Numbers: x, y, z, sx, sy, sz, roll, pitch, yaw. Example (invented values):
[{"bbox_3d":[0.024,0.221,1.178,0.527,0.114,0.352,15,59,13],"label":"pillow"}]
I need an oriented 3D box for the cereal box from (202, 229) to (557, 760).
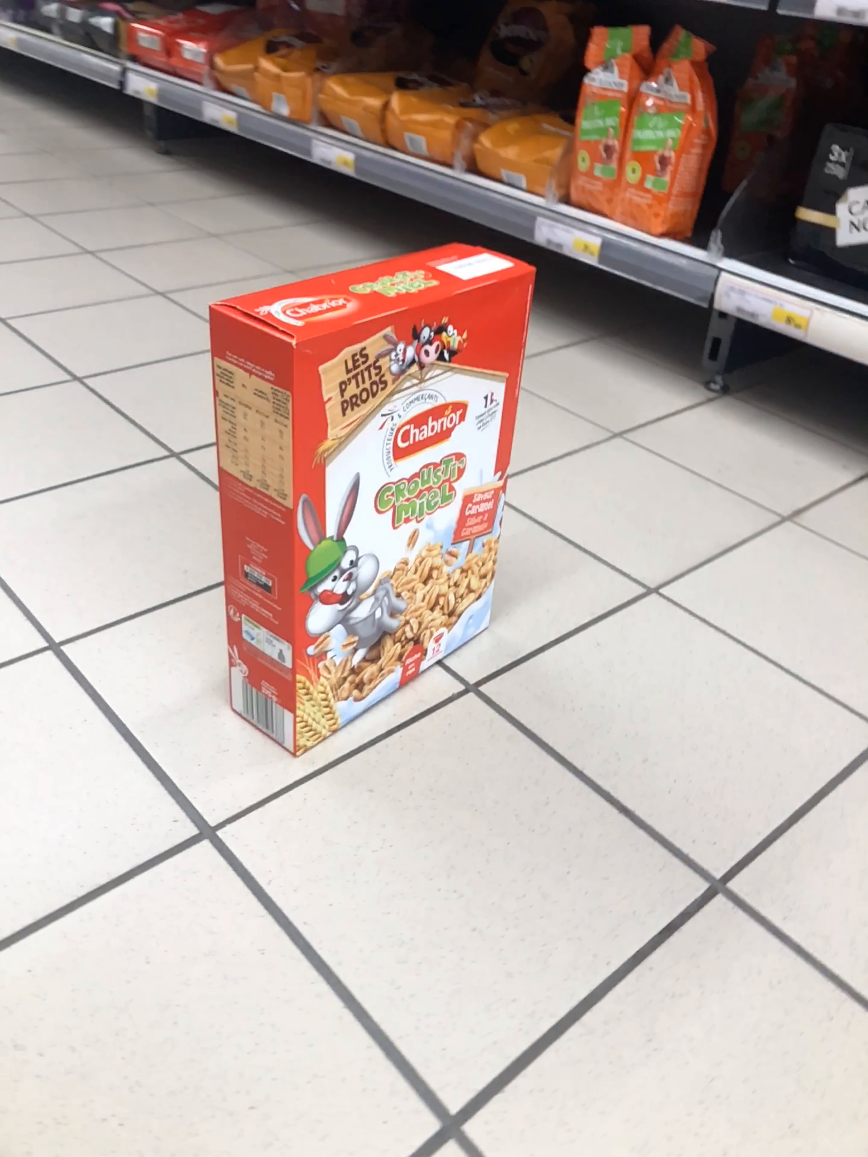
[{"bbox_3d":[-0.031,-0.054,0.584,0.070,0.268,0.201,29,40,31],"label":"cereal box"}]
